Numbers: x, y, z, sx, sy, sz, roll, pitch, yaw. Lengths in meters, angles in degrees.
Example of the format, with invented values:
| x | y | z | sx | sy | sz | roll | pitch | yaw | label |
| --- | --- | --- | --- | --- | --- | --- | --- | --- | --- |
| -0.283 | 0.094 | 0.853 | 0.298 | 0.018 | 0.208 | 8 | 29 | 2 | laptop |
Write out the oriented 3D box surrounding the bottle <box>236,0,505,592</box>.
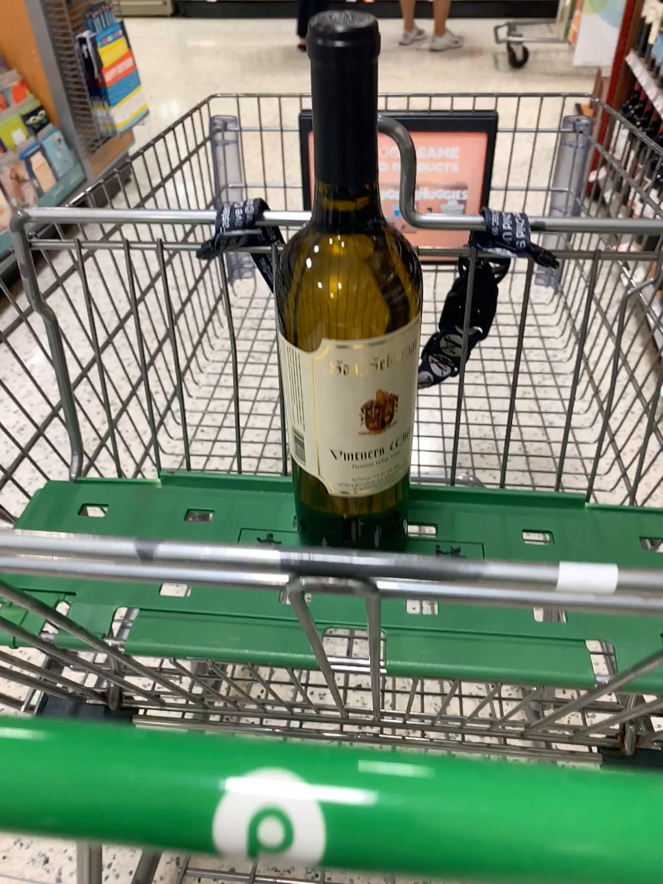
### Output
| x | y | z | sx | sy | sz | roll | pitch | yaw | label |
| --- | --- | --- | --- | --- | --- | --- | --- | --- | --- |
| 0.017 | -0.053 | 0.363 | 0.080 | 0.307 | 0.071 | -17 | 44 | -16 | bottle |
